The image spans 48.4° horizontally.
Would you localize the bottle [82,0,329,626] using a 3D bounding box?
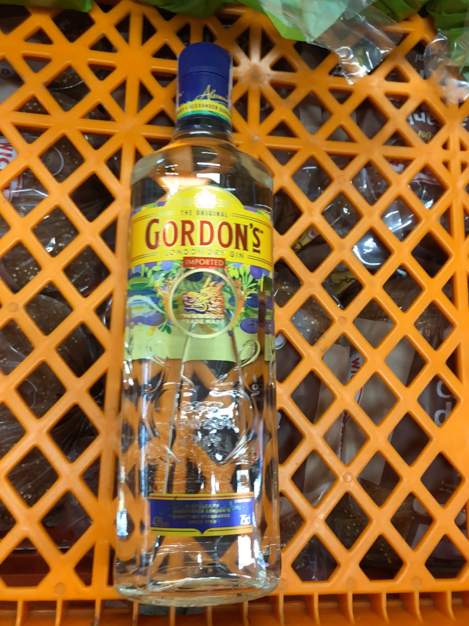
[{"bbox_3d":[-0.019,-0.019,0.281,0.100,0.100,0.310,1,81,-10],"label":"bottle"}]
